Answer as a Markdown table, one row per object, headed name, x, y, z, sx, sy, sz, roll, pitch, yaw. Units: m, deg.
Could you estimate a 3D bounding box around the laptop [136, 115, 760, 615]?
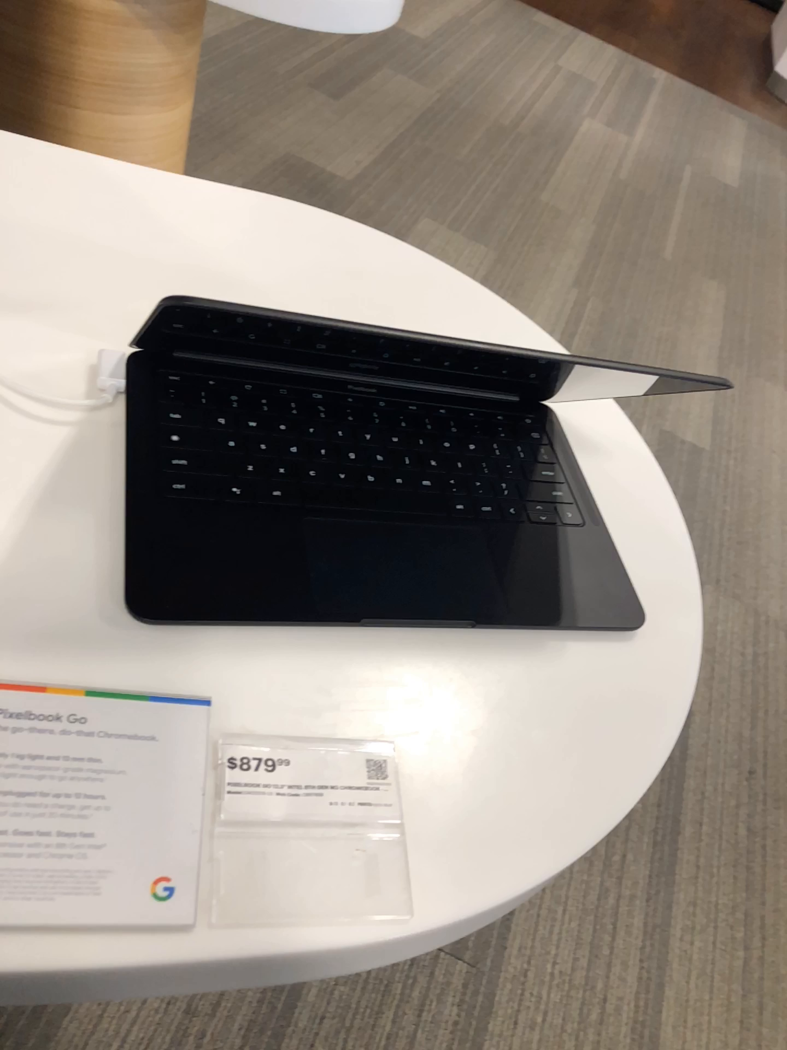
| name | x | y | z | sx | sy | sz | roll | pitch | yaw |
| --- | --- | --- | --- | --- | --- | --- | --- | --- | --- |
| laptop | 0.011 | -0.072 | 0.469 | 0.278 | 0.147 | 0.192 | 4 | 48 | -24 |
